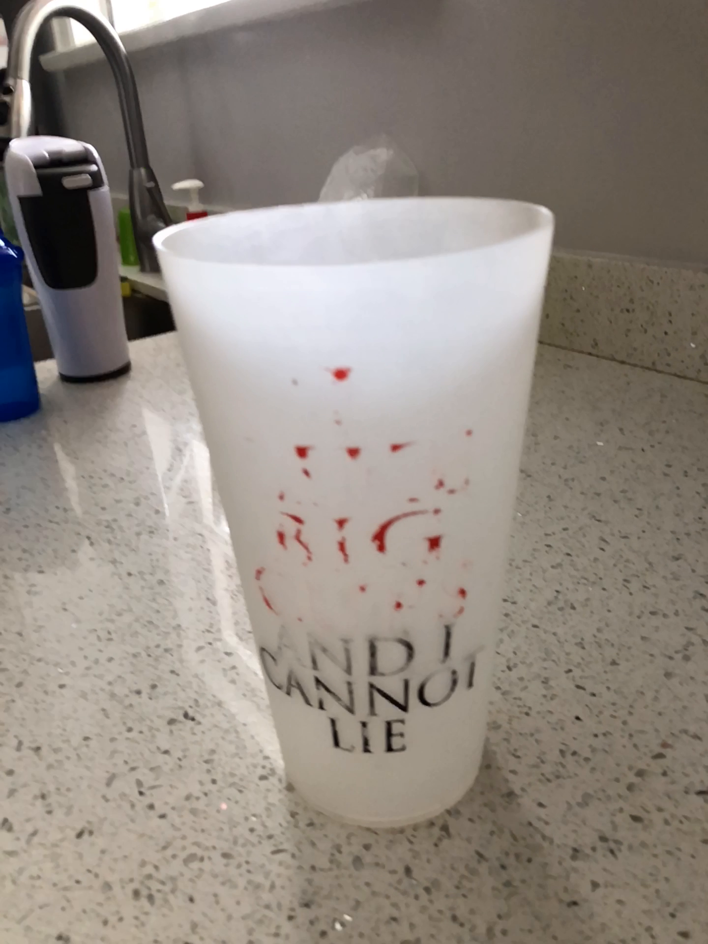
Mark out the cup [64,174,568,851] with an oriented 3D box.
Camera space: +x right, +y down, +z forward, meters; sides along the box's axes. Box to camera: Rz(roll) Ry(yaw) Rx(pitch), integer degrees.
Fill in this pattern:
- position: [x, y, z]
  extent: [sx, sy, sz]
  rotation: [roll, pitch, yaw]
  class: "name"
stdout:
- position: [0.000, 0.010, 0.224]
  extent: [0.096, 0.166, 0.094]
  rotation: [-4, 25, 2]
  class: "cup"
